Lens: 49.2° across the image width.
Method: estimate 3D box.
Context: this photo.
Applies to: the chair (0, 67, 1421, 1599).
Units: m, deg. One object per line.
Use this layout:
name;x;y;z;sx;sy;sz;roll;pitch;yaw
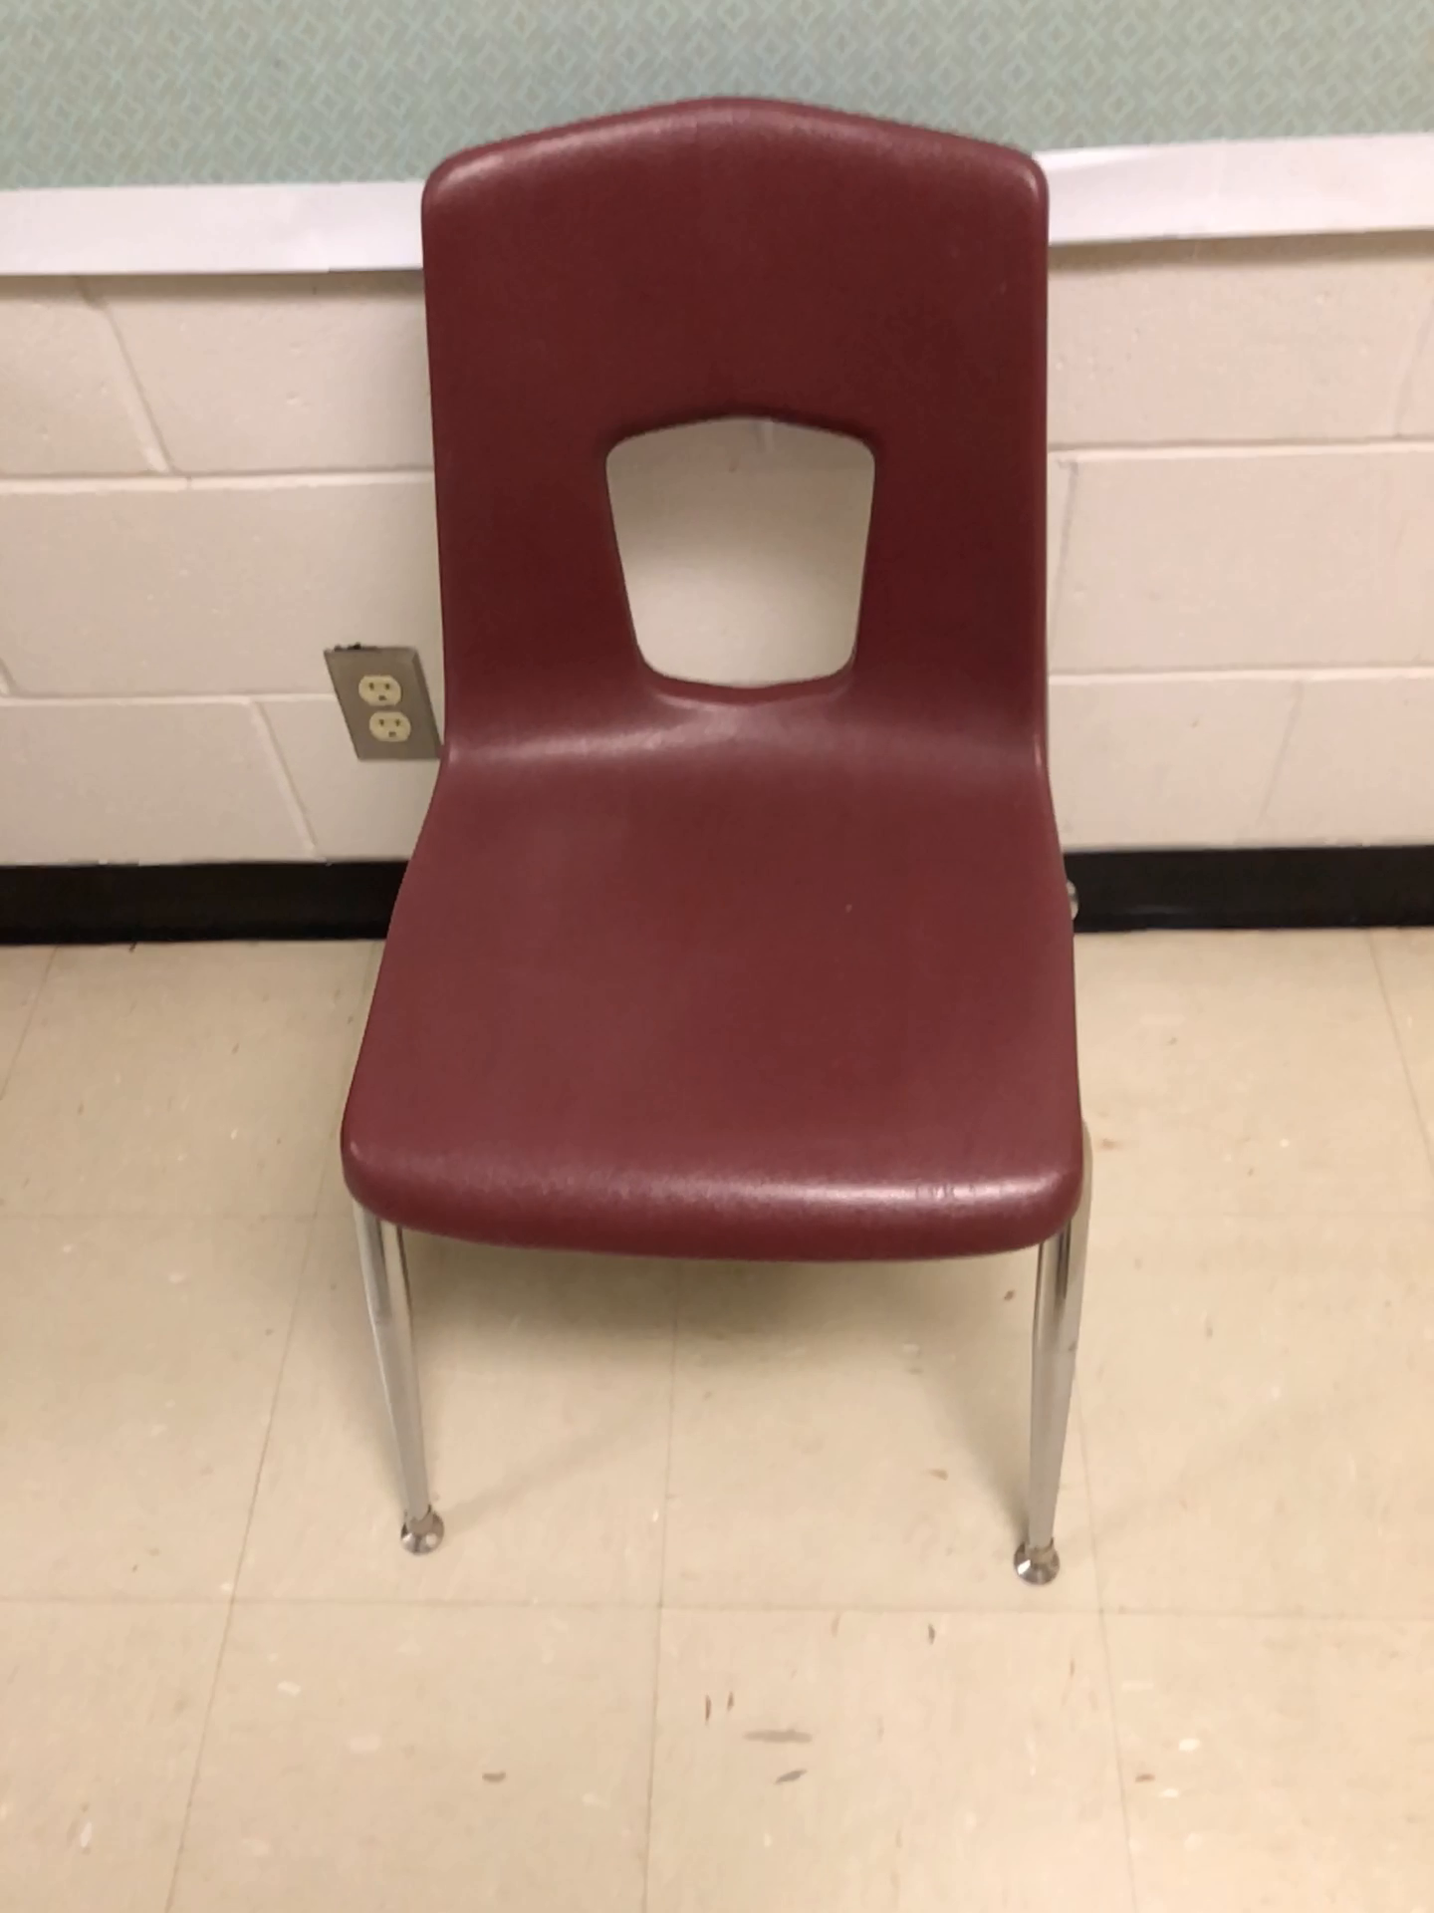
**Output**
chair;-0.008;-0.022;0.930;0.504;0.707;0.556;1;53;5
